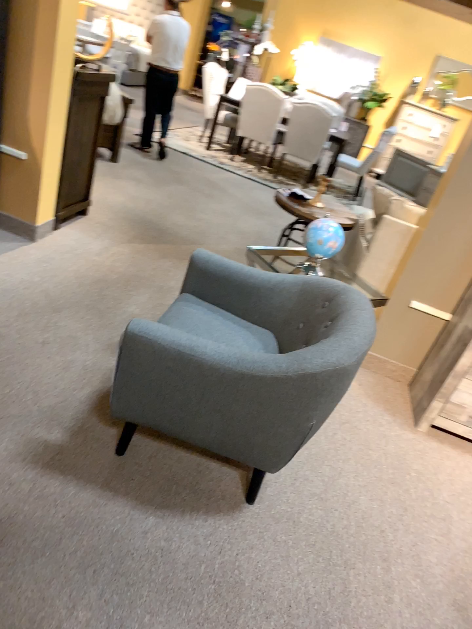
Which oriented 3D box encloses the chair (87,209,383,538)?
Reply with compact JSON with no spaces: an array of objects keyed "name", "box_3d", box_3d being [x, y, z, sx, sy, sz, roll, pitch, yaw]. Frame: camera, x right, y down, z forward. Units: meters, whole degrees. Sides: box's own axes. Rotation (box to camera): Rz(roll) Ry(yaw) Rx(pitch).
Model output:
[{"name":"chair","box_3d":[0.024,0.151,1.776,0.741,0.701,0.751,21,28,4]}]
